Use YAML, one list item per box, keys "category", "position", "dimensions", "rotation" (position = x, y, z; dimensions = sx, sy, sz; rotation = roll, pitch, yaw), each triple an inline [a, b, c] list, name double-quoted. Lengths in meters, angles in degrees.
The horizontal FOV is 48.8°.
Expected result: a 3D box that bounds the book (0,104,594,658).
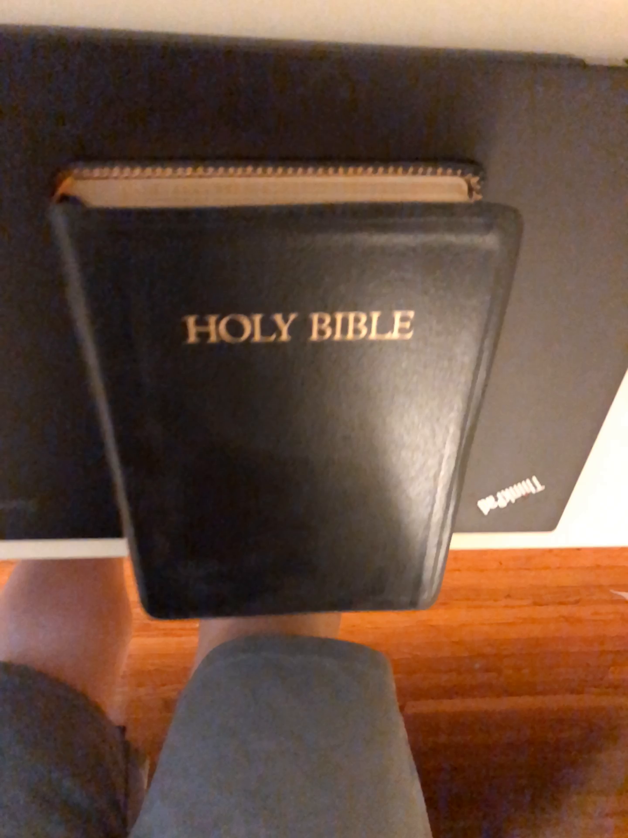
- category: "book"
  position: [-0.011, 0.007, 0.279]
  dimensions: [0.170, 0.040, 0.241]
  rotation: [-1, 129, -4]
